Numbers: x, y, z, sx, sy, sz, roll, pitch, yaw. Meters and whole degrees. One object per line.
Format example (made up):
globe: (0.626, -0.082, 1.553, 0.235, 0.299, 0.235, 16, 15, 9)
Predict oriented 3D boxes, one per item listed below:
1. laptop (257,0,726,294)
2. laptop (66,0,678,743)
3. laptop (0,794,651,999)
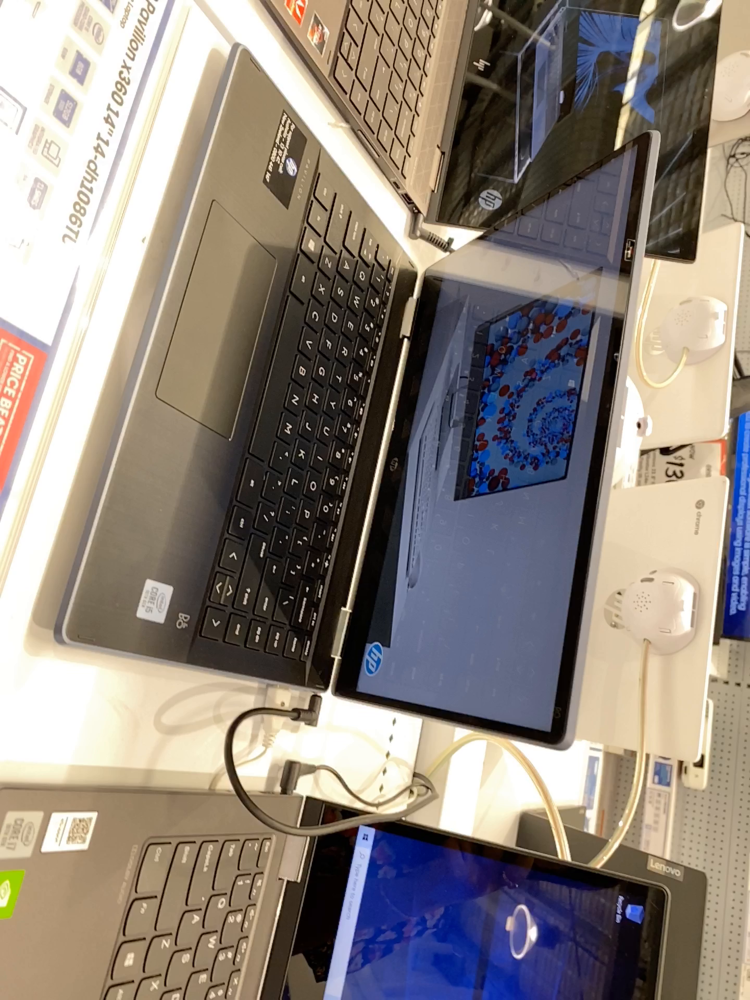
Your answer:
laptop: (0.124, -0.382, 0.552, 0.326, 0.173, 0.325, 32, 64, -53)
laptop: (0.028, -0.054, 0.411, 0.212, 0.189, 0.313, 32, 65, -55)
laptop: (-0.028, 0.317, 0.336, 0.296, 0.199, 0.306, 36, 61, -53)
